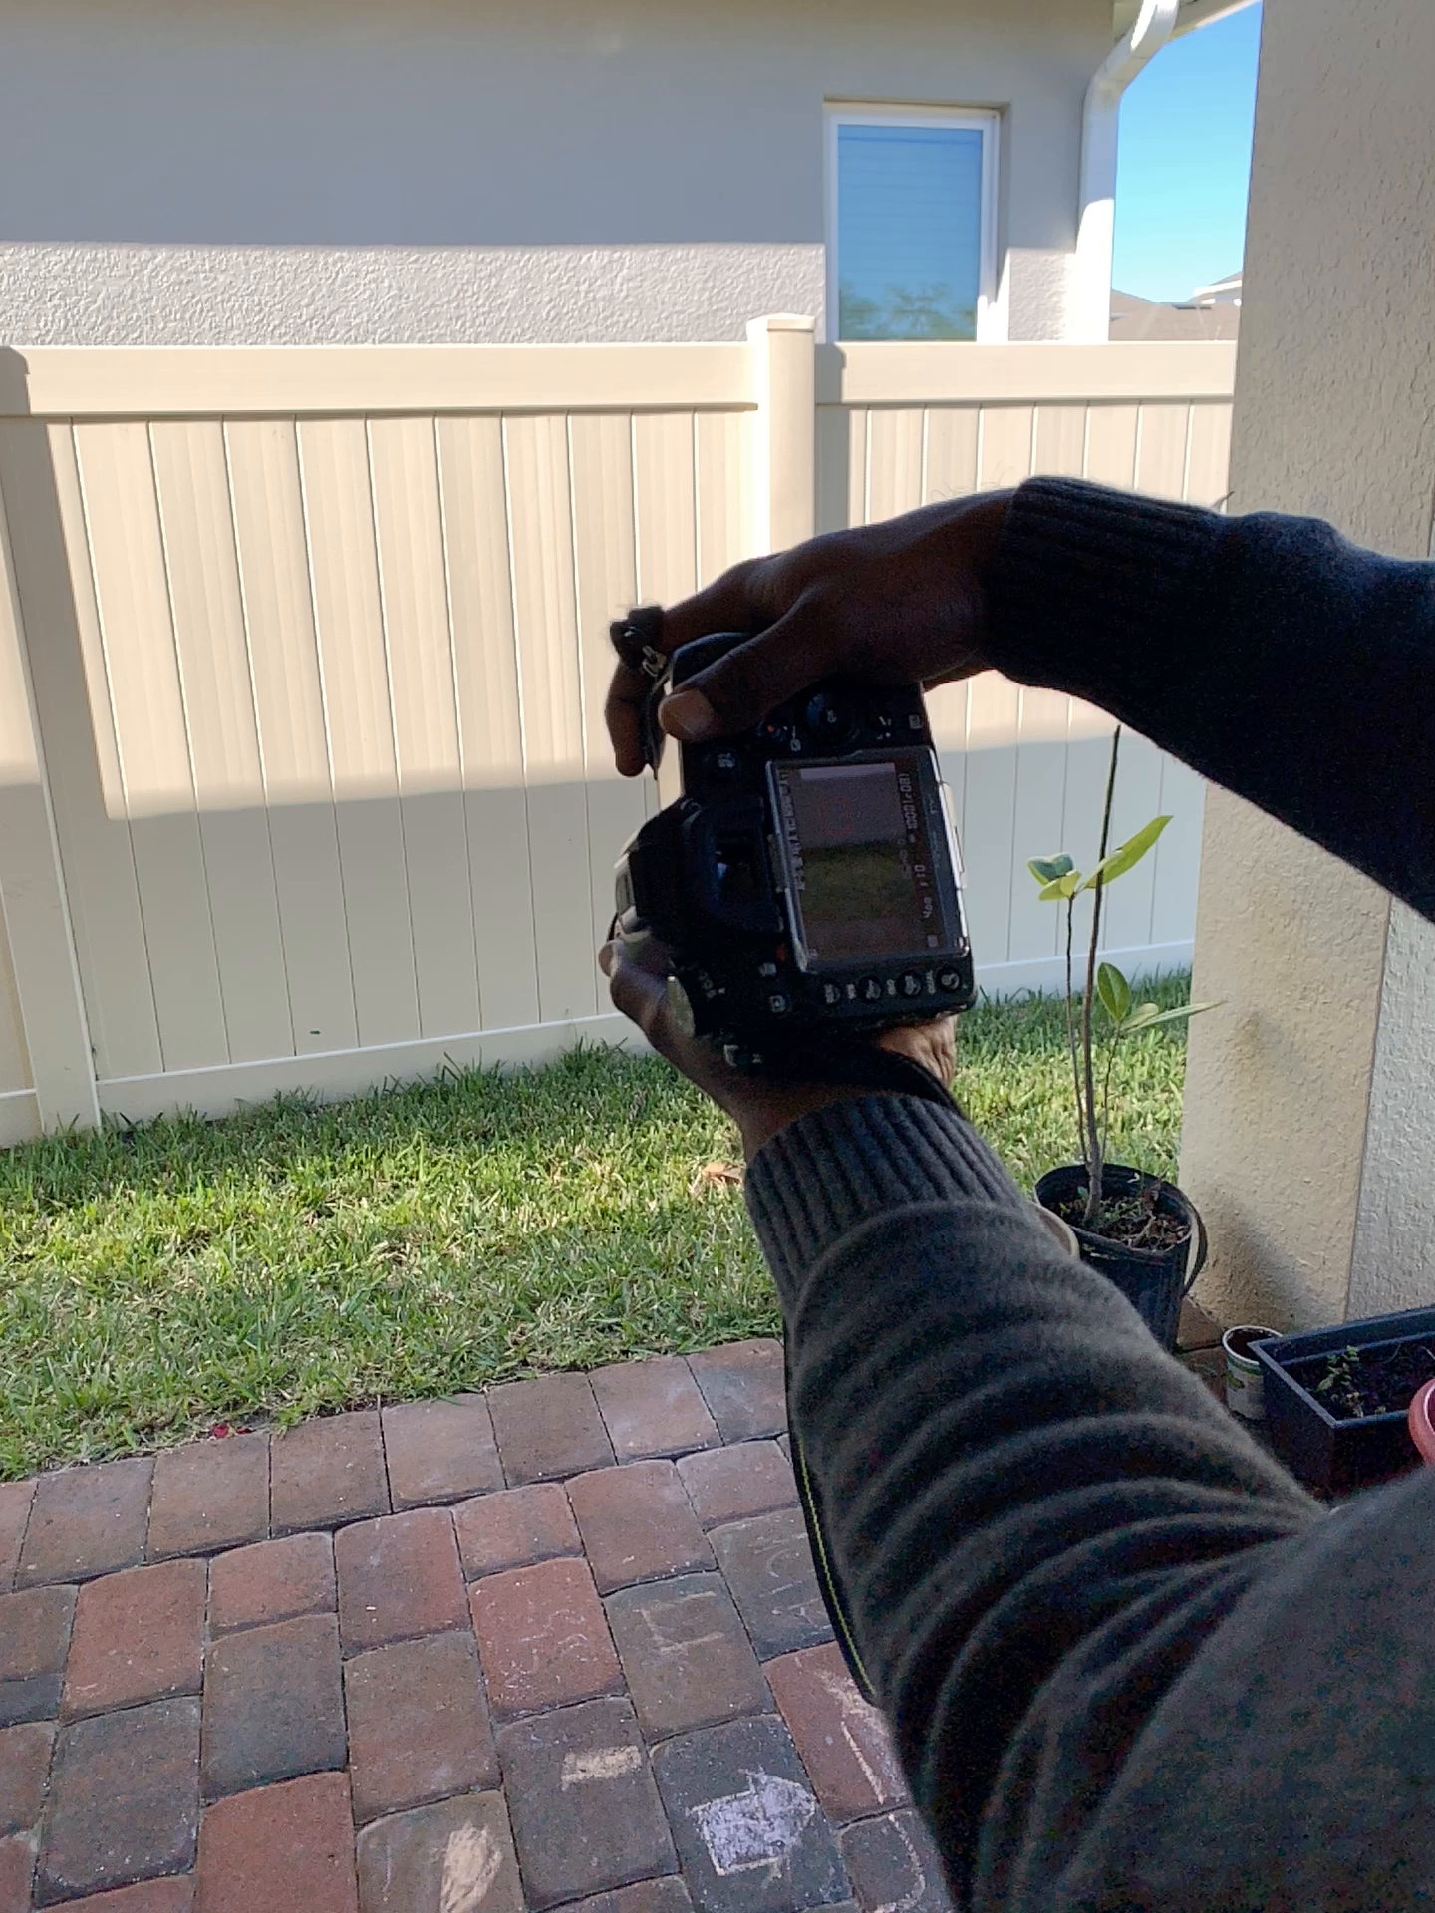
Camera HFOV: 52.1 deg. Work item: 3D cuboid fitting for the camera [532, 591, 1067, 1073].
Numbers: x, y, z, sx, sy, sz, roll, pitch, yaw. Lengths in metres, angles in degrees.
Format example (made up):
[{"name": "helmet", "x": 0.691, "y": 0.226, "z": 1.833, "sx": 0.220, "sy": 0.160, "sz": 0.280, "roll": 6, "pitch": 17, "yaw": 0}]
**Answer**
[{"name": "camera", "x": 0.012, "y": -0.027, "z": 0.441, "sx": 0.090, "sy": 0.110, "sz": 0.170, "roll": -7, "pitch": -3, "yaw": -19}]
